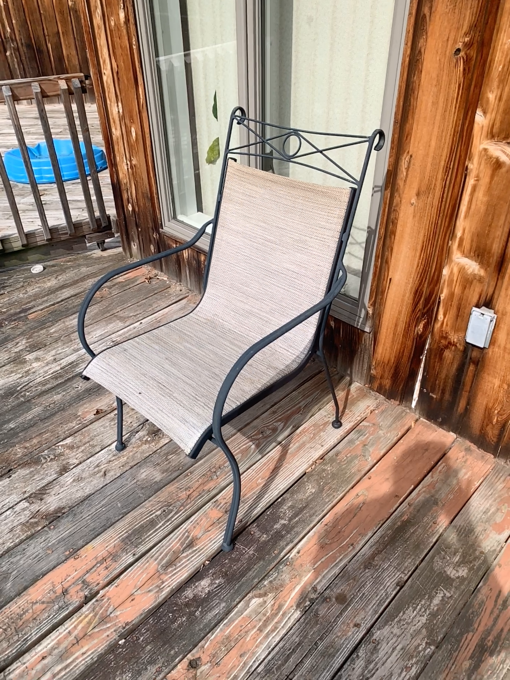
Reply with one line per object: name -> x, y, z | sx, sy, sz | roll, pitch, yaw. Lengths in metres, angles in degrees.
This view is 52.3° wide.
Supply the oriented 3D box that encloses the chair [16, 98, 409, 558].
chair -> -0.082, -0.075, 1.451 | 0.612, 0.944, 0.652 | 27, 44, 34
